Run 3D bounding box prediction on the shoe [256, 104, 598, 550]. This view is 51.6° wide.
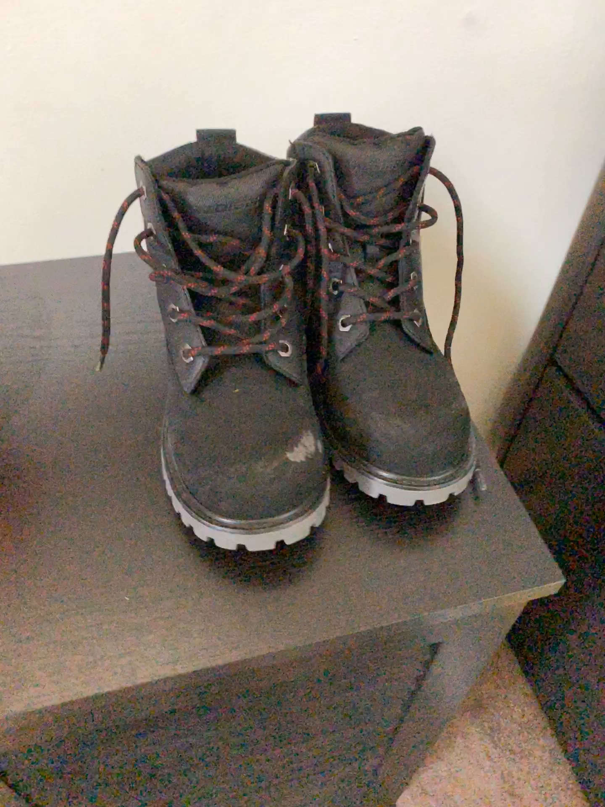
[{"bbox_3d":[0.045,-0.060,0.390,0.100,0.158,0.232,-9,45,-12],"label":"shoe"}]

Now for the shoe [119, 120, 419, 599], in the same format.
[{"bbox_3d":[-0.035,-0.038,0.360,0.100,0.158,0.222,-9,45,-12],"label":"shoe"}]
